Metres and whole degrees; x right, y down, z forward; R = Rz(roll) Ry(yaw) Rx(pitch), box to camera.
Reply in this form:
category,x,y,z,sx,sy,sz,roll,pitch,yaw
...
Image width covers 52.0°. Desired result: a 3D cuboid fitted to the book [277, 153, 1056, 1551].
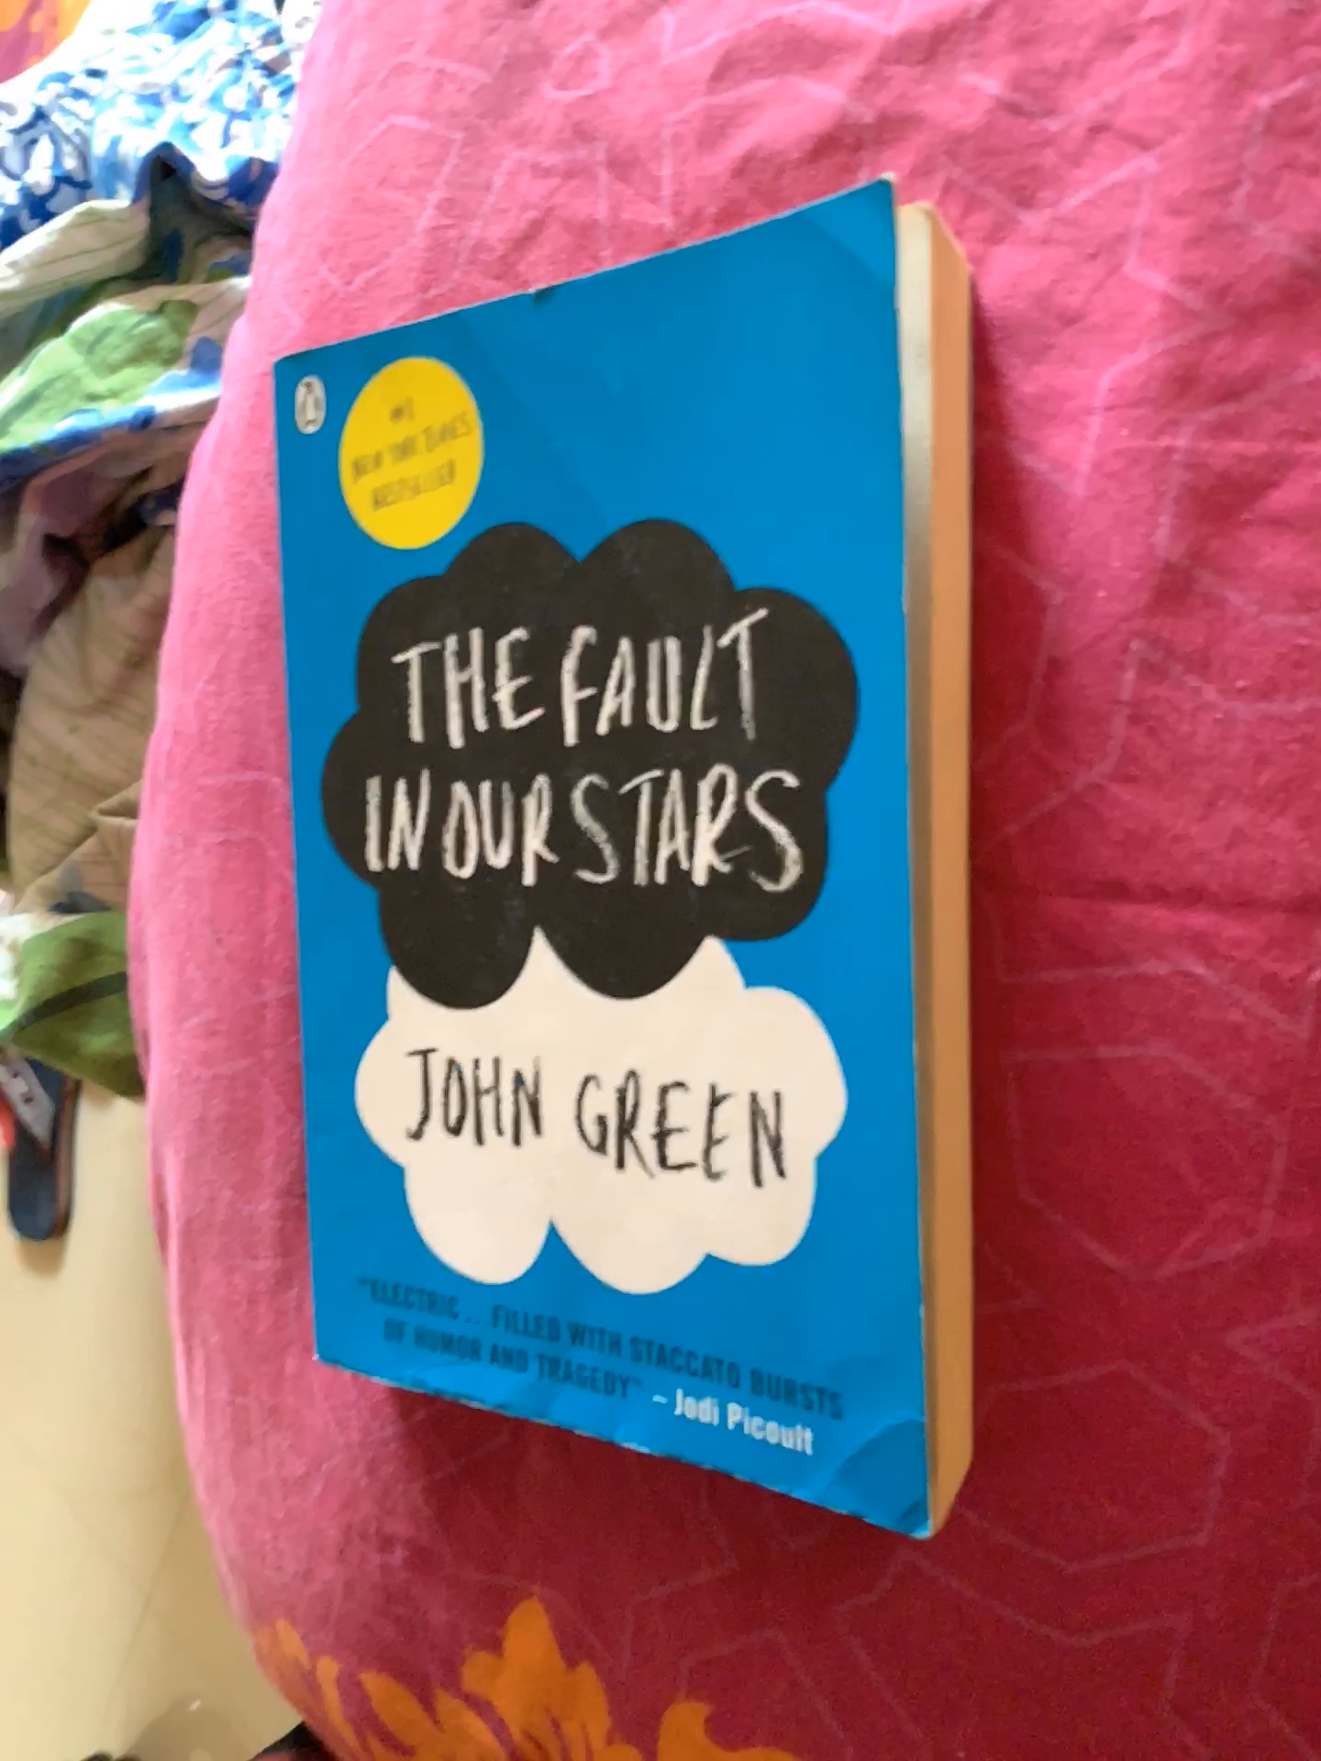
category,x,y,z,sx,sy,sz,roll,pitch,yaw
book,-0.006,-0.004,0.221,0.130,0.030,0.179,0,90,32
